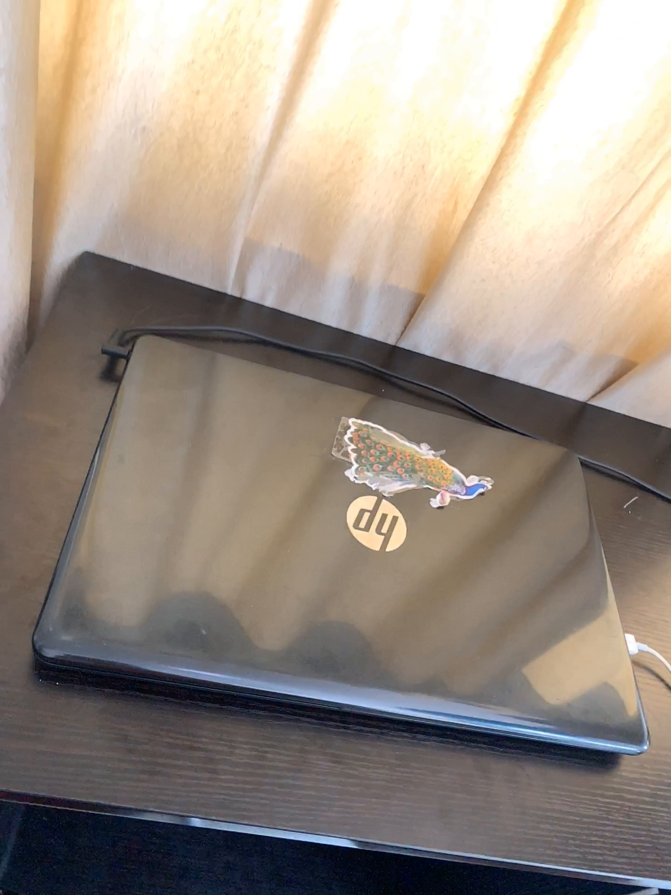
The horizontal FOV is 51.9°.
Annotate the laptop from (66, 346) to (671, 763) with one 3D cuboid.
[{"bbox_3d":[0.043,0.062,0.468,0.374,0.006,0.238,14,48,-12],"label":"laptop"}]
